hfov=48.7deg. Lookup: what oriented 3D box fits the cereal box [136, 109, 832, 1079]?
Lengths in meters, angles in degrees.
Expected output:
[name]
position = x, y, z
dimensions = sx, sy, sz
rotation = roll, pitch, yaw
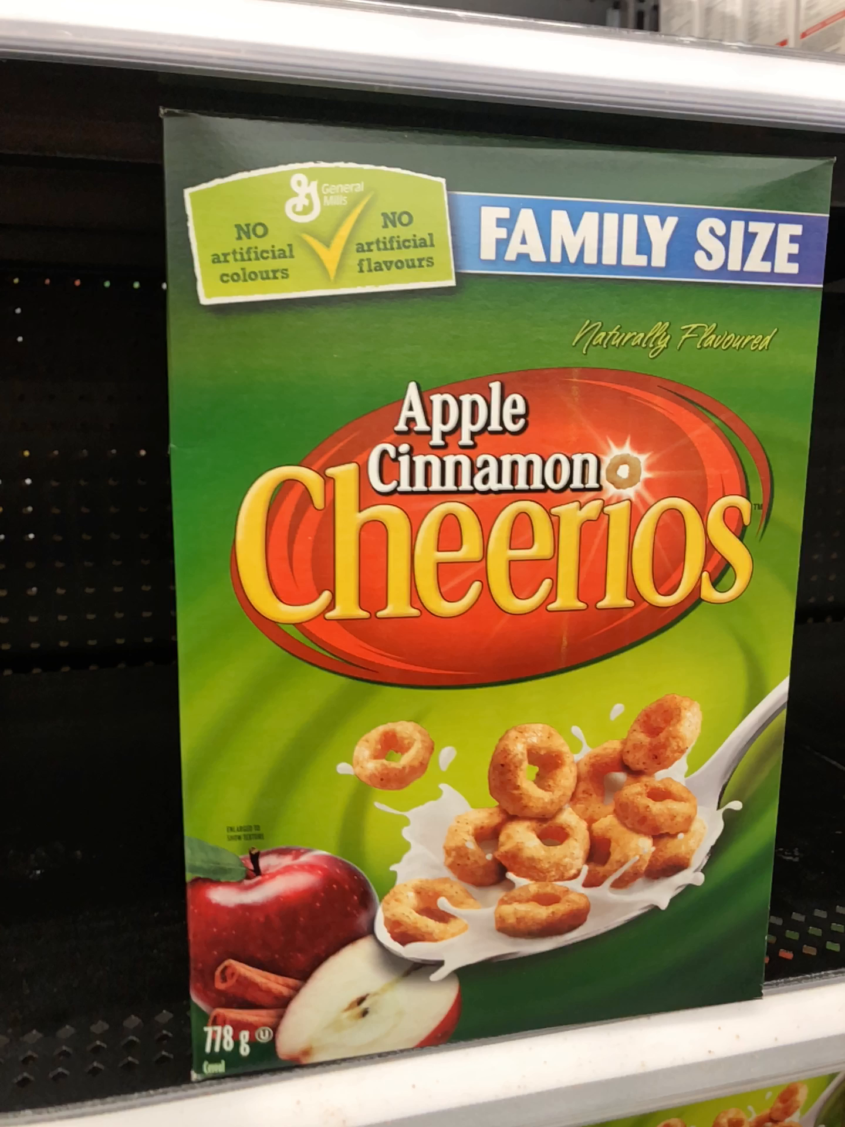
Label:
[cereal box]
position = 0.020, 0.013, 0.375
dimensions = 0.240, 0.329, 0.080
rotation = -2, 10, -13
